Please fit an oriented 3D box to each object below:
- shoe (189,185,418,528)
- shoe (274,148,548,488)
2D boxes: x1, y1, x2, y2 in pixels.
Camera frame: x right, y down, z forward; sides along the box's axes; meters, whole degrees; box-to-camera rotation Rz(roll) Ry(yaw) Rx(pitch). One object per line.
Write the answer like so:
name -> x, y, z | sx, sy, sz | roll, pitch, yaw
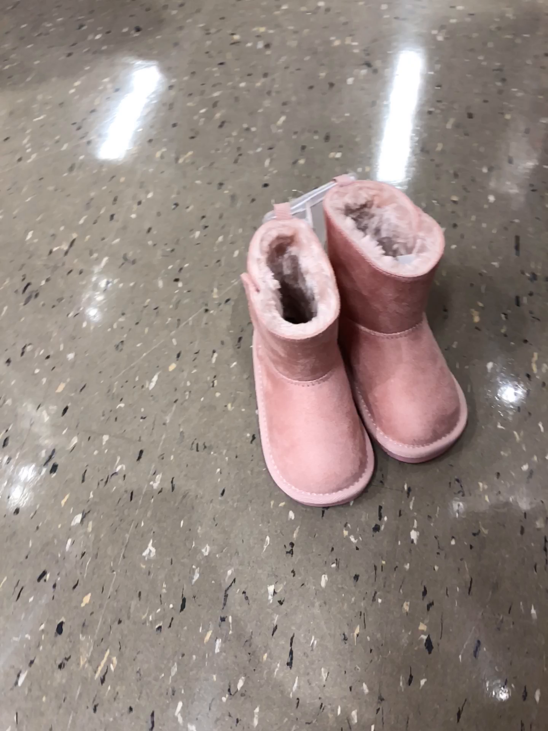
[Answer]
shoe -> 0.015, 0.001, 0.409 | 0.090, 0.150, 0.160 | -14, 61, -3
shoe -> 0.080, -0.027, 0.423 | 0.090, 0.150, 0.160 | -25, 62, -9
